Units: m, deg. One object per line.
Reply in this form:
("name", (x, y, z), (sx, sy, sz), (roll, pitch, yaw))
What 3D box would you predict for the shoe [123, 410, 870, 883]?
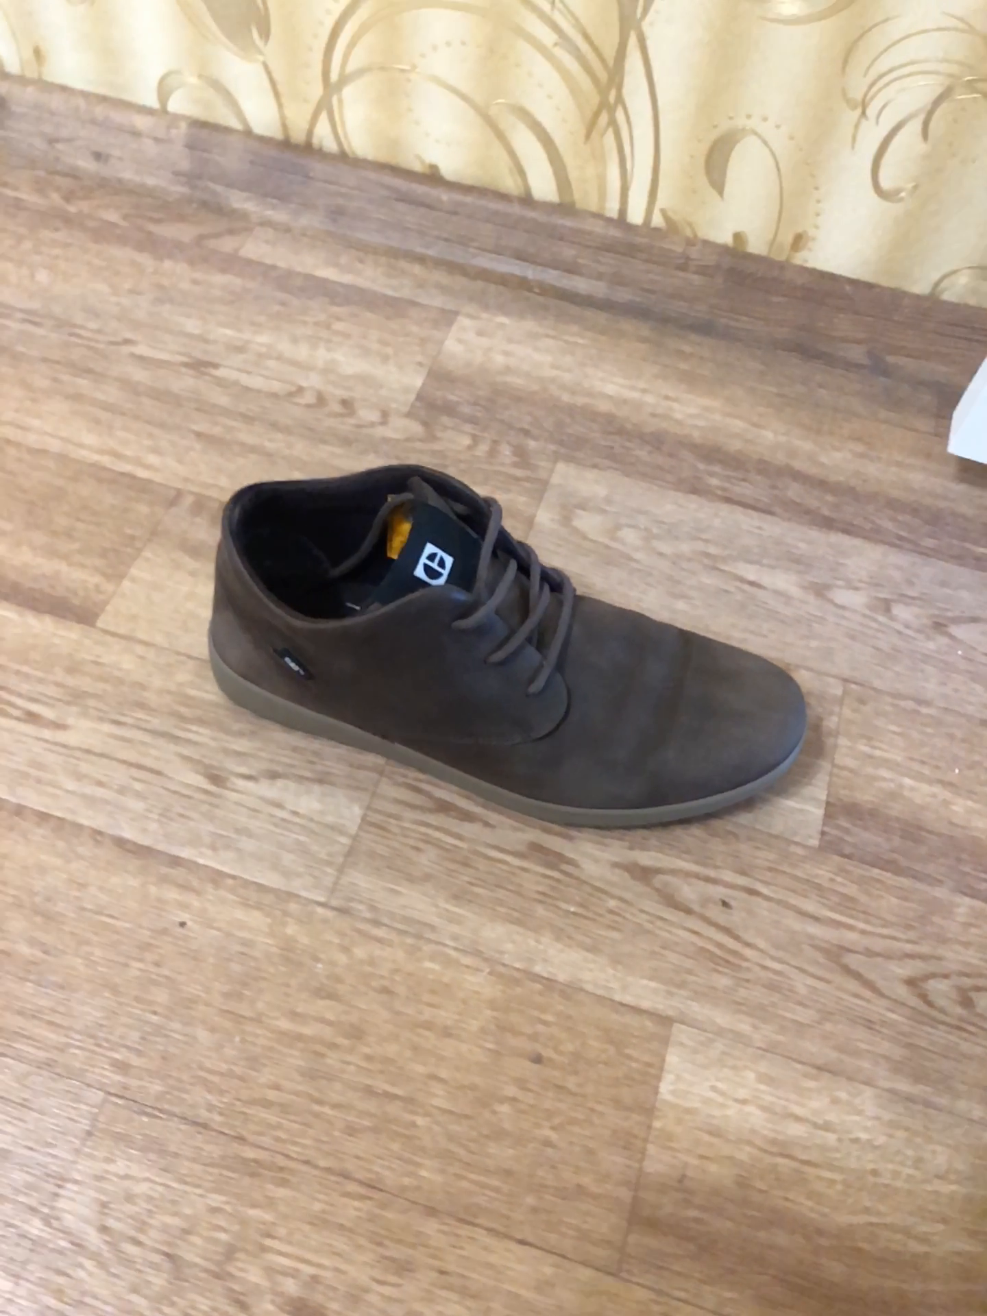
("shoe", (0.004, -0.003, 0.463), (0.270, 0.110, 0.100), (13, 57, 4))
